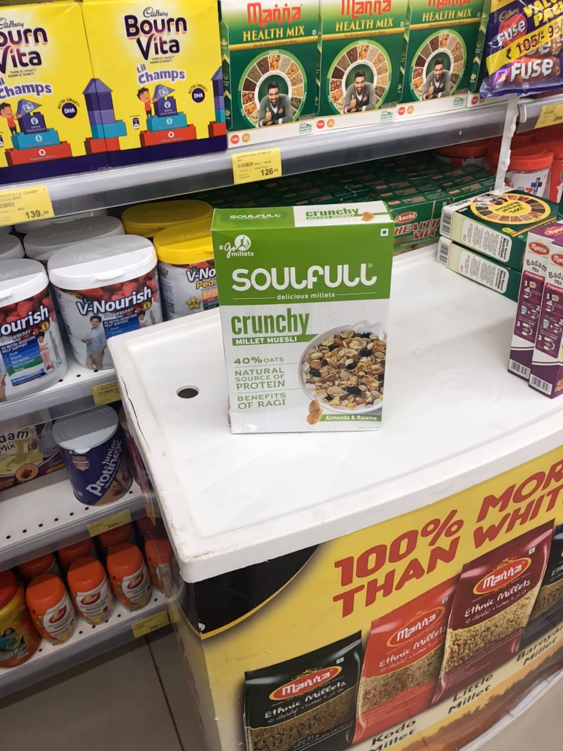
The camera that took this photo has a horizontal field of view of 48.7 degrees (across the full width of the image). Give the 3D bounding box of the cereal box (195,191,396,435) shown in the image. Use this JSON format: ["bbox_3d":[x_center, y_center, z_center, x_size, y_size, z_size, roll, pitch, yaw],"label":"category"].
[{"bbox_3d":[0.020,-0.056,0.659,0.180,0.249,0.070,-2,36,3],"label":"cereal box"}]
